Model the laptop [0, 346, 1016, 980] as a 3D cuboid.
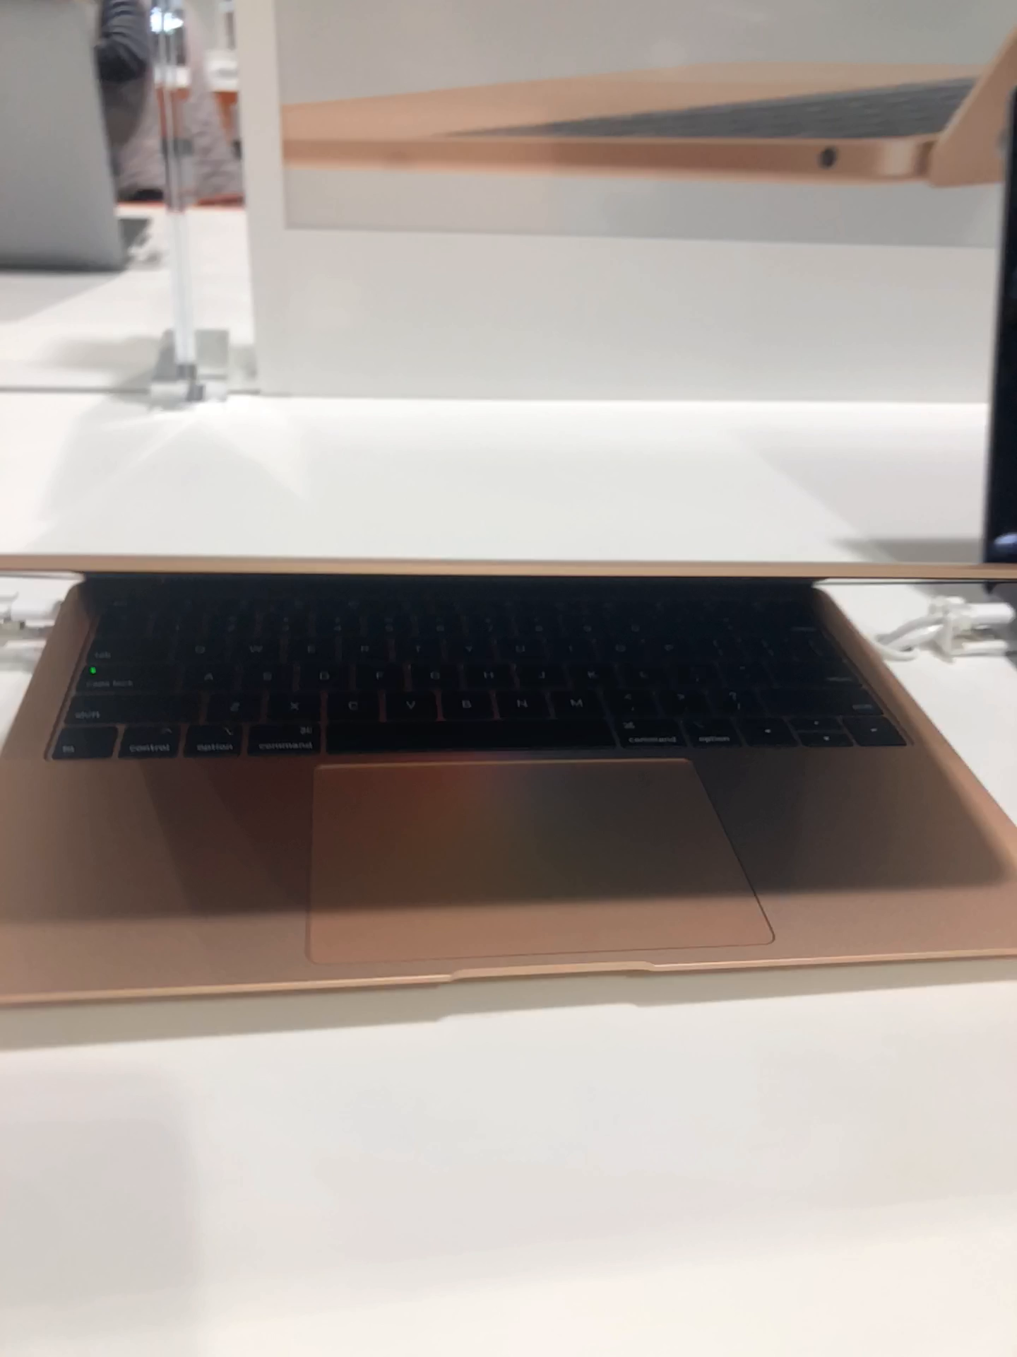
[{"bbox_3d":[0.007,-0.024,0.352,0.285,0.091,0.210,0,30,-9],"label":"laptop"}]
